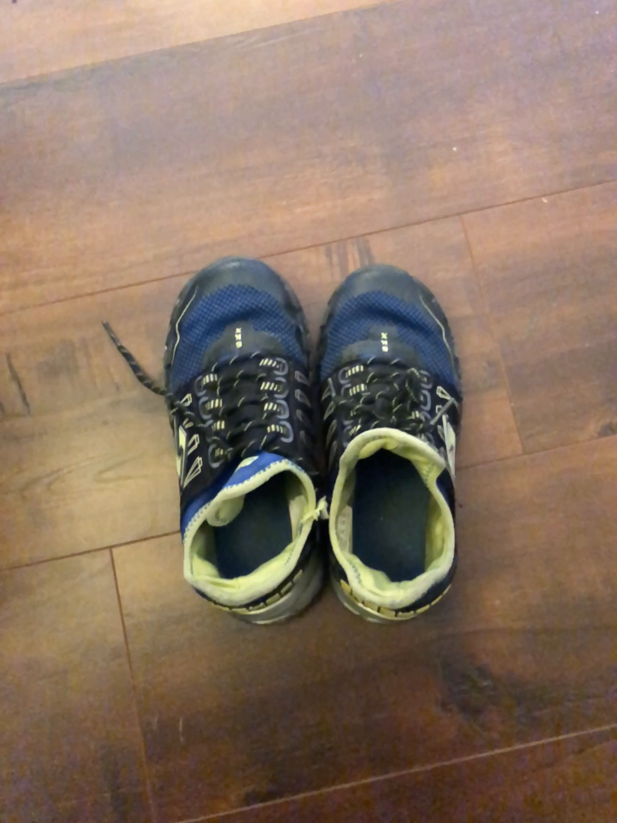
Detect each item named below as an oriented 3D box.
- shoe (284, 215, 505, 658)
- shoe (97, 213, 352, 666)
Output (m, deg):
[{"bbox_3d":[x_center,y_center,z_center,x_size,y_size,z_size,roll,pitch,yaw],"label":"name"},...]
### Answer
[{"bbox_3d":[0.045,0.015,0.386,0.100,0.120,0.210,2,81,2],"label":"shoe"},{"bbox_3d":[-0.042,0.017,0.392,0.100,0.120,0.210,-8,81,1],"label":"shoe"}]
